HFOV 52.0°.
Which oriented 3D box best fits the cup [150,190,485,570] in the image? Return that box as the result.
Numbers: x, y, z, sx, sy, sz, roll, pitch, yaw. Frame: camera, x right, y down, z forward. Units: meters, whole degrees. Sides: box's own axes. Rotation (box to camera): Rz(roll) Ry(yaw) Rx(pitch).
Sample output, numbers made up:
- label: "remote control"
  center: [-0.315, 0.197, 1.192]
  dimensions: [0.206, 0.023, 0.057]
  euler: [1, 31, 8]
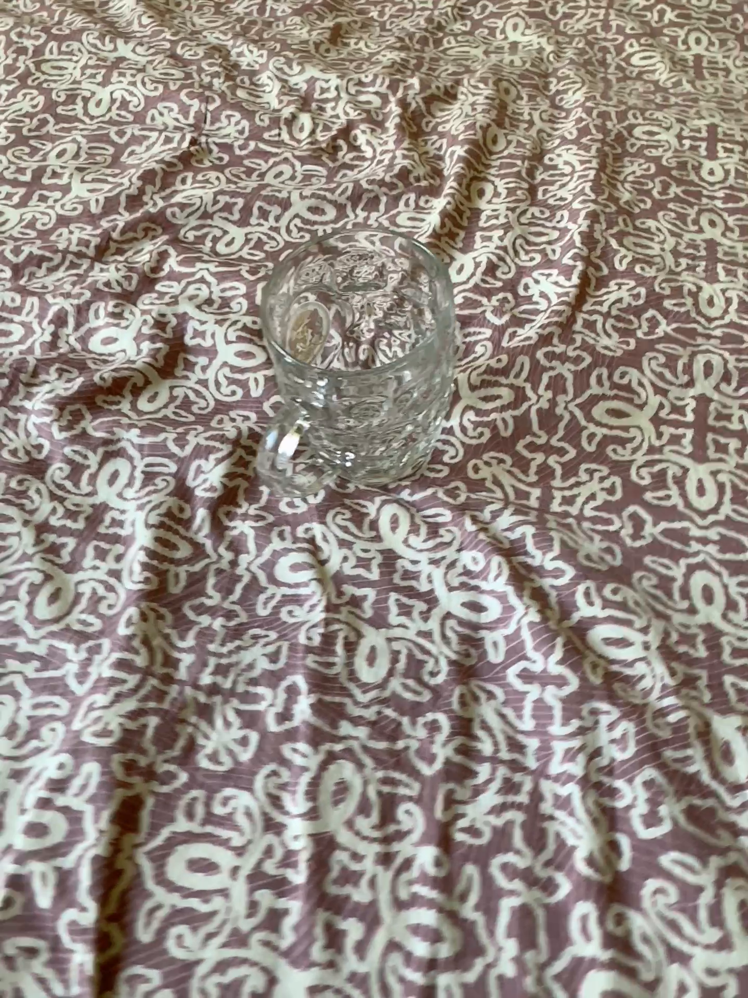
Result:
- label: "cup"
  center: [-0.018, -0.058, 0.376]
  dimensions: [0.090, 0.109, 0.121]
  euler: [30, 64, 24]
